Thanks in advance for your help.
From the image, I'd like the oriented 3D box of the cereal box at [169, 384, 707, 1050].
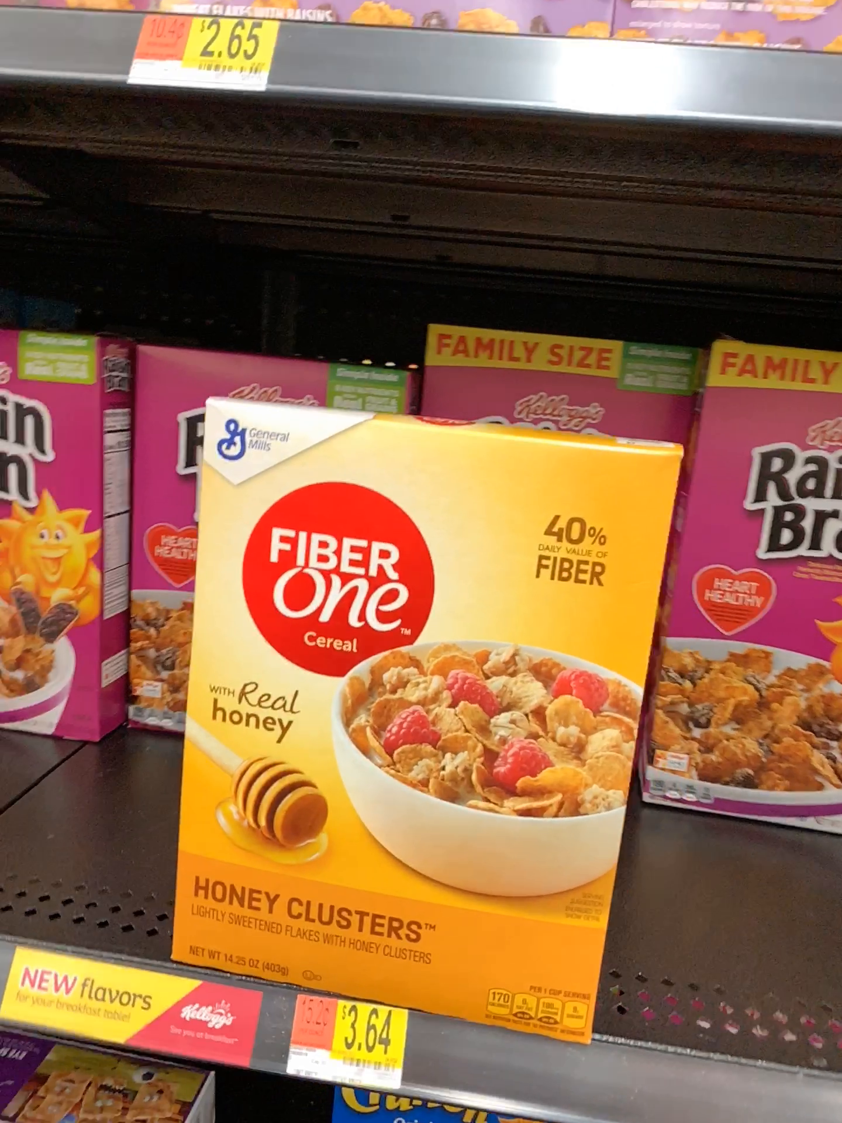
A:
[{"bbox_3d":[-0.001,0.063,0.382,0.200,0.259,0.050,7,10,8],"label":"cereal box"}]
